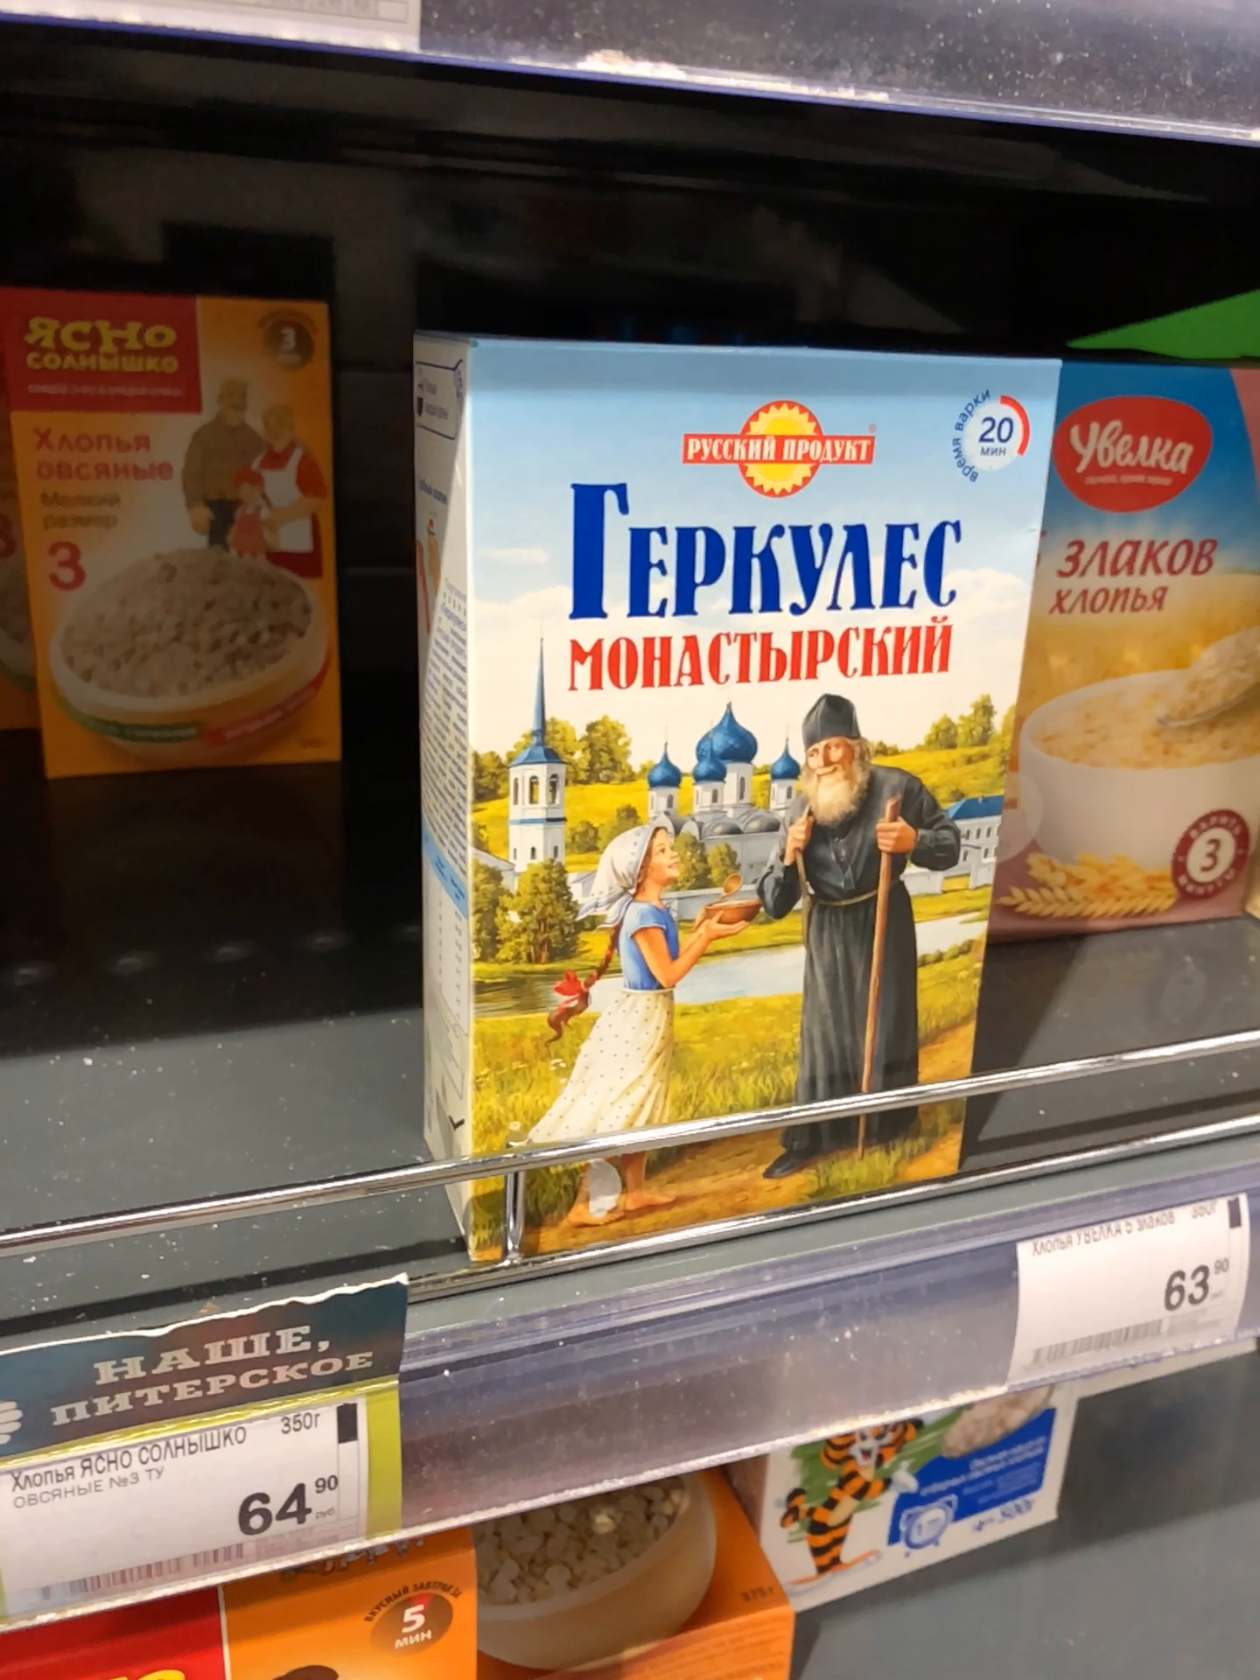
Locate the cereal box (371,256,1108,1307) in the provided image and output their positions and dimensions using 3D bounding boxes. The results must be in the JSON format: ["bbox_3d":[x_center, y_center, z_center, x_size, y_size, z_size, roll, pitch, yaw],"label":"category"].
[{"bbox_3d":[0.017,-0.014,0.304,0.130,0.199,0.060,-5,20,-21],"label":"cereal box"}]
